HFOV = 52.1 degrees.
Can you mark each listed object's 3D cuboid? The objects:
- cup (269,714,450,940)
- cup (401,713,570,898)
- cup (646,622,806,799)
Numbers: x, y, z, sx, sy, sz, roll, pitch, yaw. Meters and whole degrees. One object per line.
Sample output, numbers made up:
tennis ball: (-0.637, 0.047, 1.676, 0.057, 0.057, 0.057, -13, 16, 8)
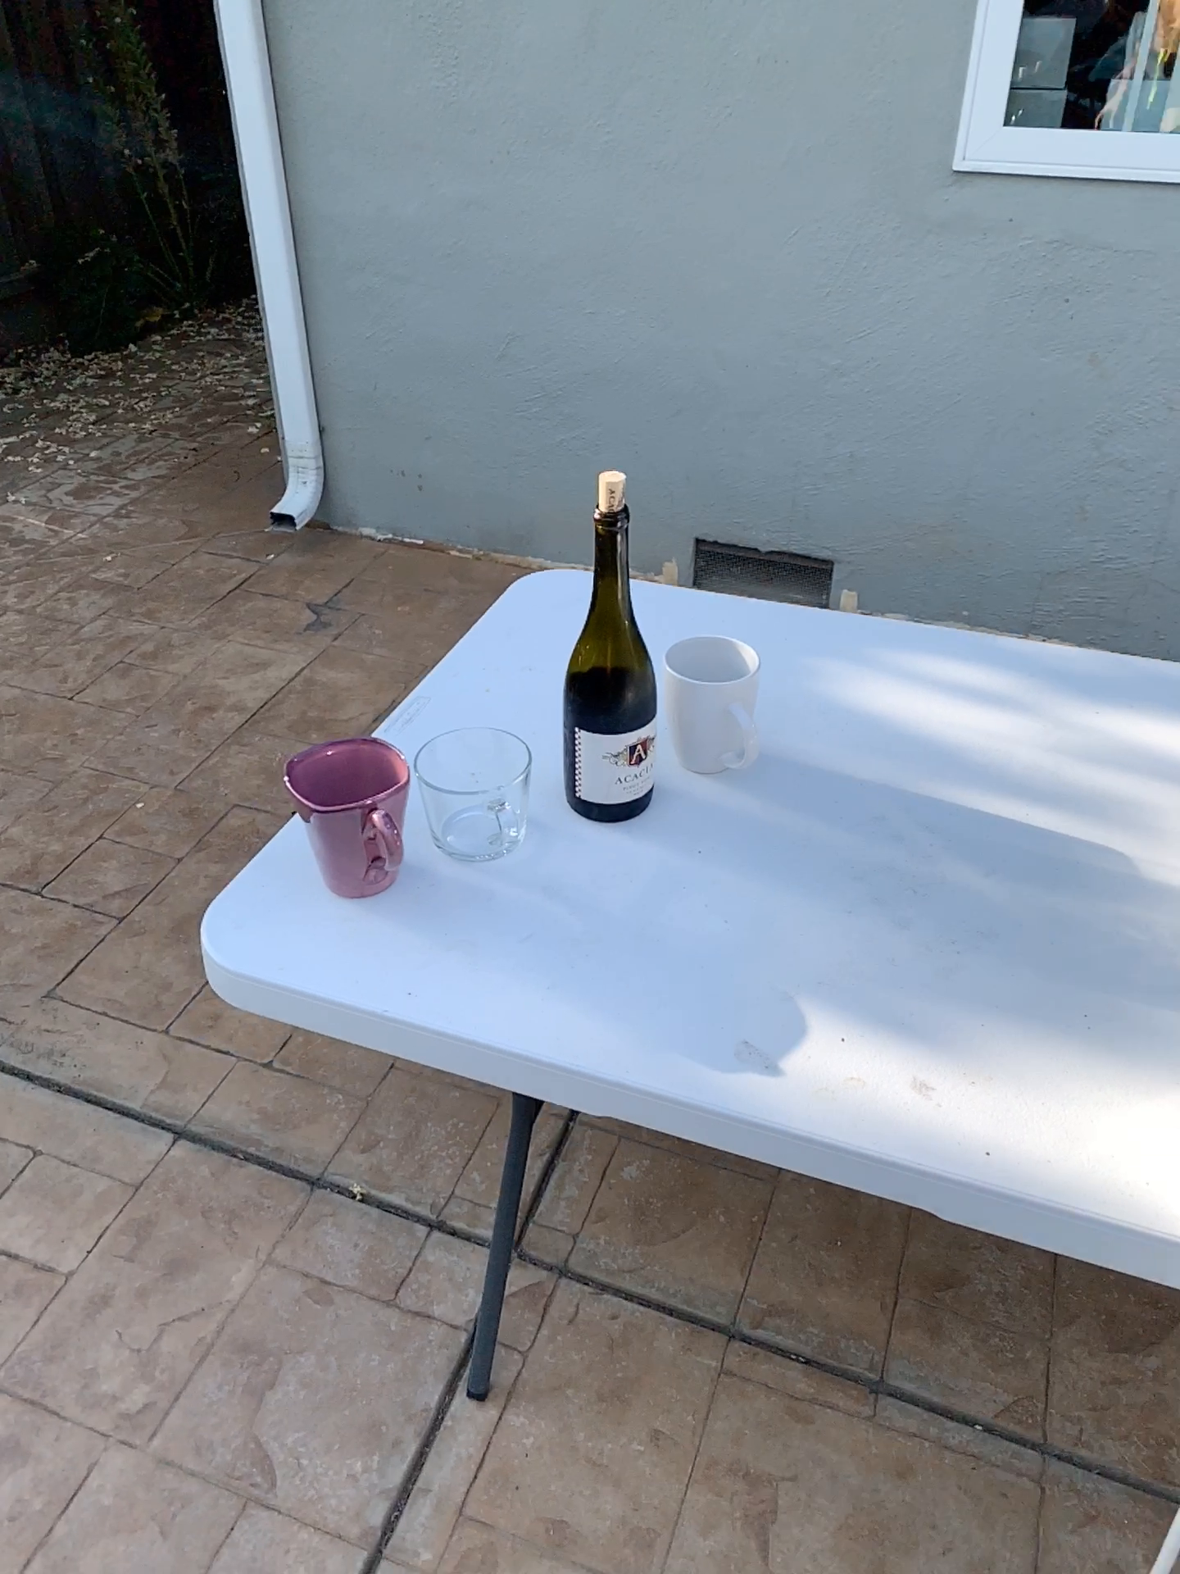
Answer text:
cup: (-0.188, 0.029, 0.987, 0.100, 0.109, 0.131, -16, 38, -21)
cup: (-0.091, 0.013, 1.041, 0.100, 0.080, 0.131, -16, 38, -21)
cup: (0.121, -0.073, 1.107, 0.090, 0.099, 0.121, -16, 38, -21)
